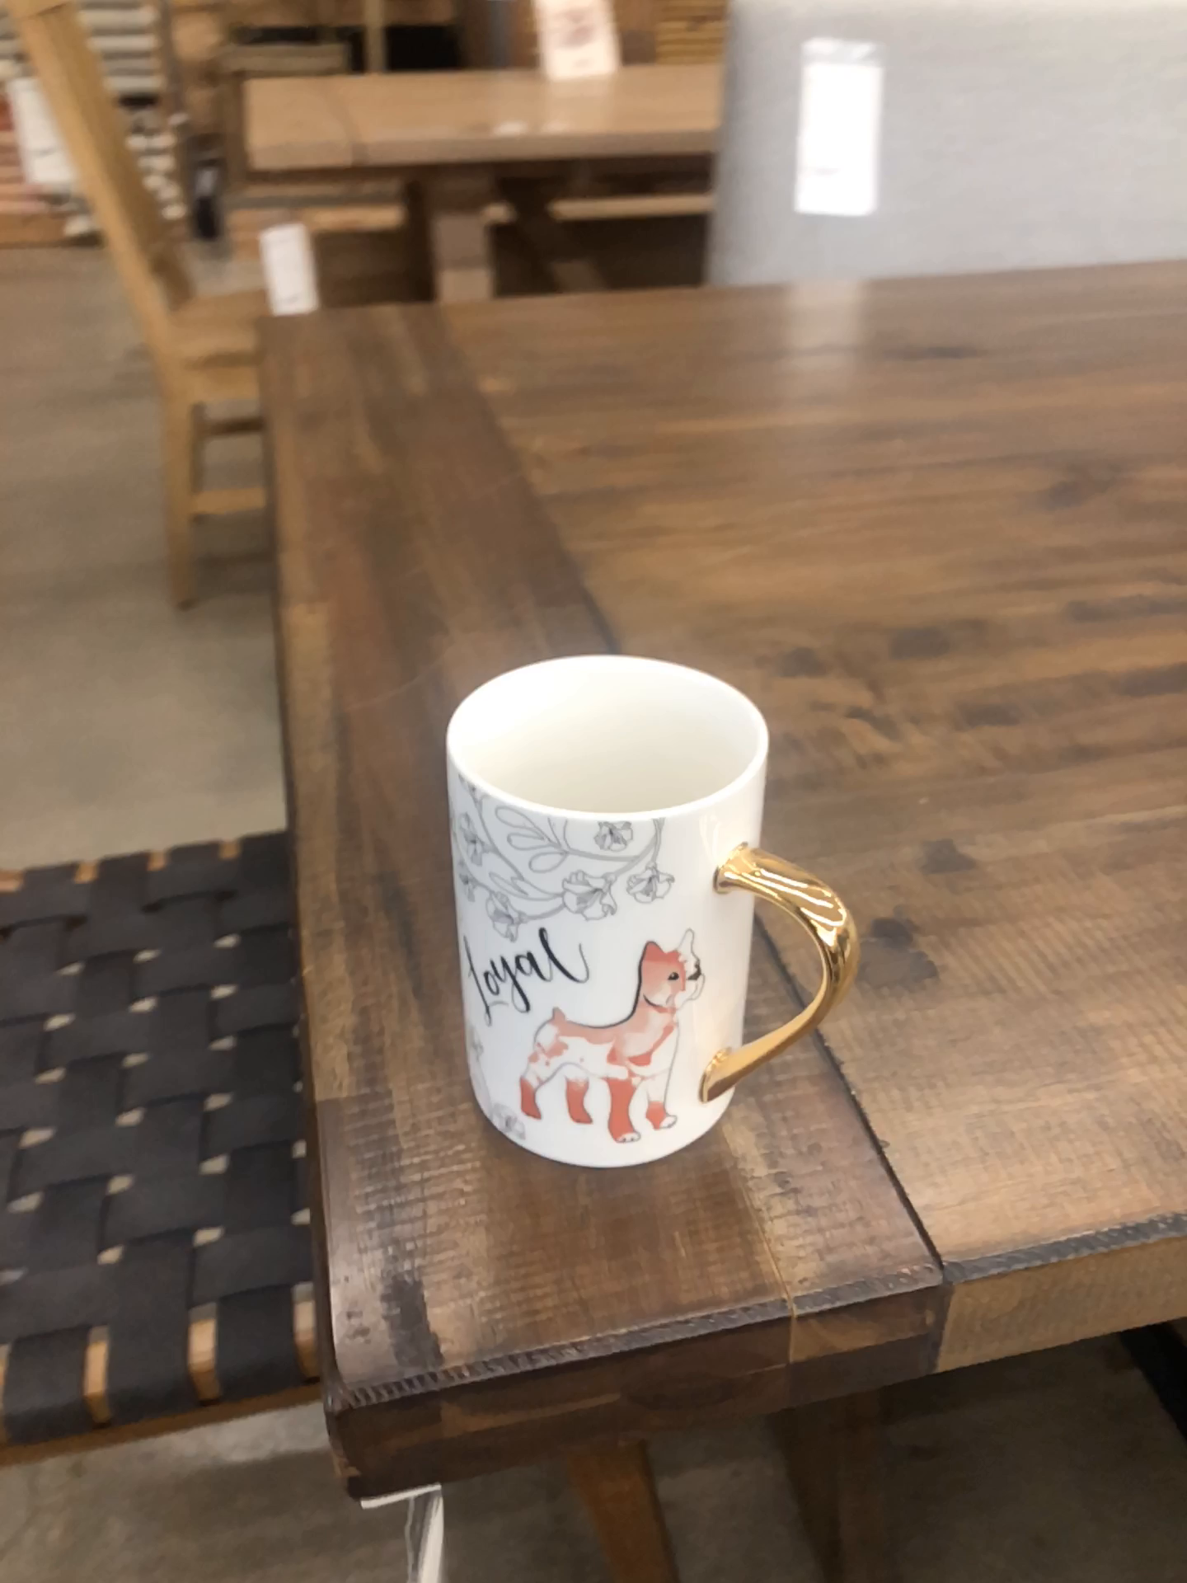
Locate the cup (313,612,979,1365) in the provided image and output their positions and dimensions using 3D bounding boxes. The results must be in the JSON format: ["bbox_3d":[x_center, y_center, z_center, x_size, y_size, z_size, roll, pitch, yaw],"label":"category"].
[{"bbox_3d":[0.010,0.040,0.335,0.097,0.115,0.119,-27,41,-36],"label":"cup"}]
